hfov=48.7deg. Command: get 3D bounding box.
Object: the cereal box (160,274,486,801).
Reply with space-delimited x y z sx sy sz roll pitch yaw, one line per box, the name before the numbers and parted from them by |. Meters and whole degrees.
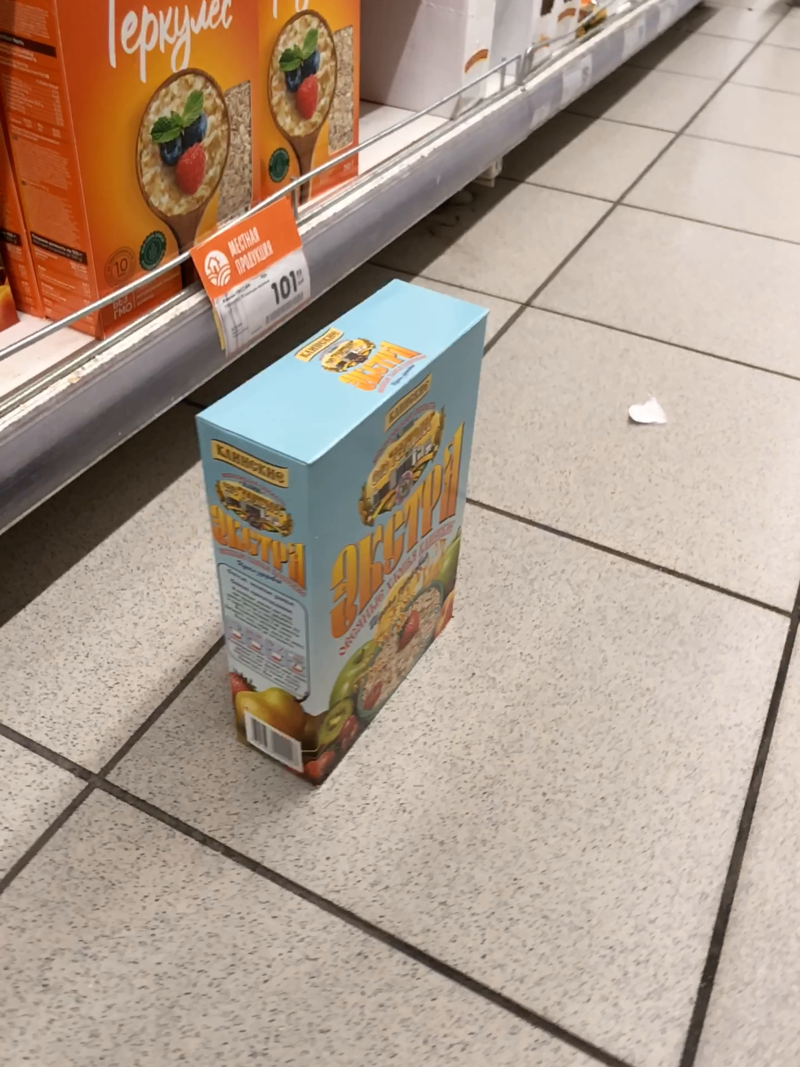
cereal box | -0.029 0.005 0.439 0.060 0.209 0.151 24 46 22
